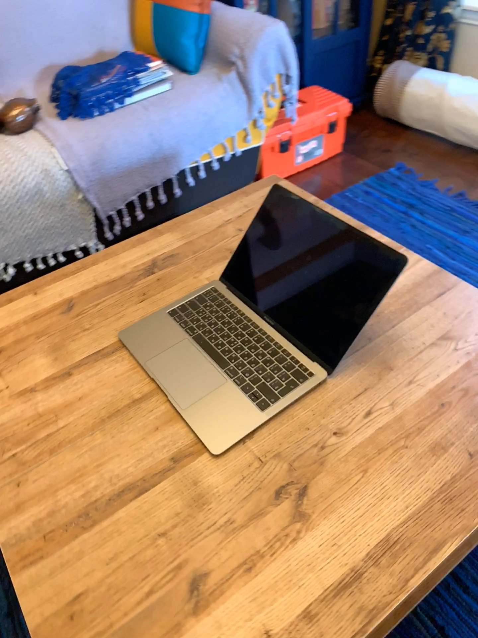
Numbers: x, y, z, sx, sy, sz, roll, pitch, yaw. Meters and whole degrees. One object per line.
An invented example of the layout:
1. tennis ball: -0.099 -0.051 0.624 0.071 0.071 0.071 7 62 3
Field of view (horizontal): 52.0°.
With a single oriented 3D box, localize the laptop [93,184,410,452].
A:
1. laptop: 0.015 -0.030 0.761 0.353 0.141 0.292 -29 48 -21
